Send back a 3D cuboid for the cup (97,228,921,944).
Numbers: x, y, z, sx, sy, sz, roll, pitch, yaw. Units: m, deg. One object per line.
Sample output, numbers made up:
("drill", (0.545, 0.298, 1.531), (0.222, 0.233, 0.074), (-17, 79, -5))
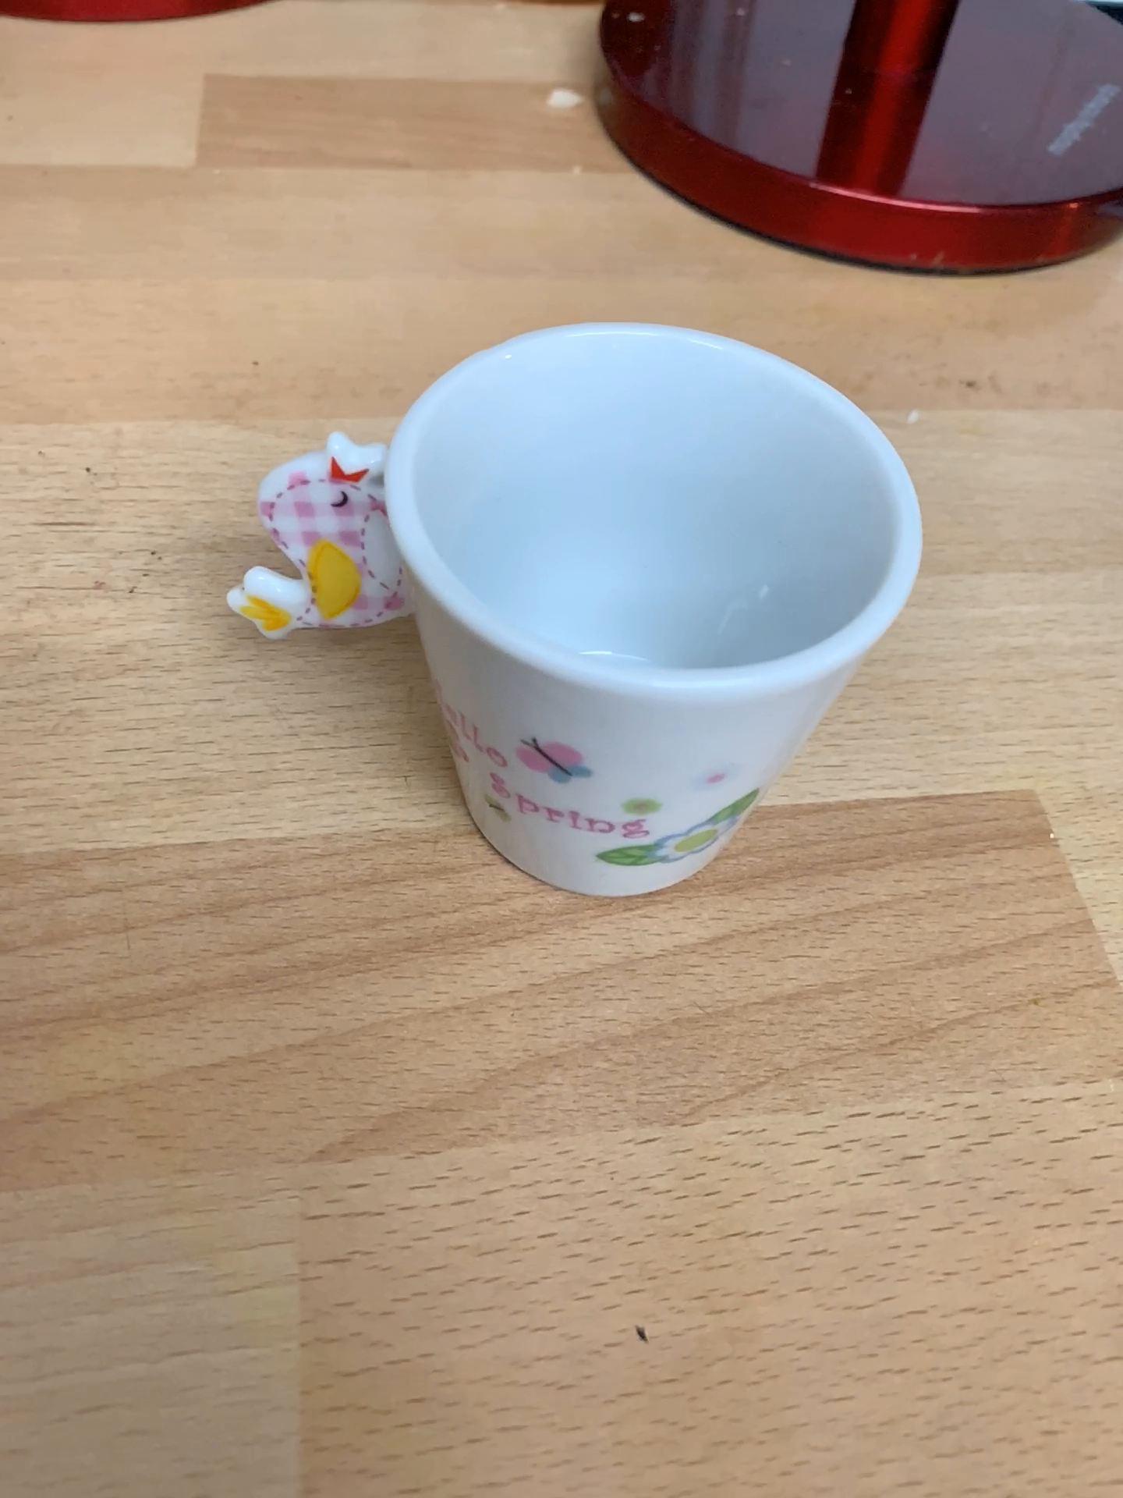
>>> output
("cup", (-0.003, -0.021, 0.150), (0.080, 0.050, 0.060), (11, 53, 2))
